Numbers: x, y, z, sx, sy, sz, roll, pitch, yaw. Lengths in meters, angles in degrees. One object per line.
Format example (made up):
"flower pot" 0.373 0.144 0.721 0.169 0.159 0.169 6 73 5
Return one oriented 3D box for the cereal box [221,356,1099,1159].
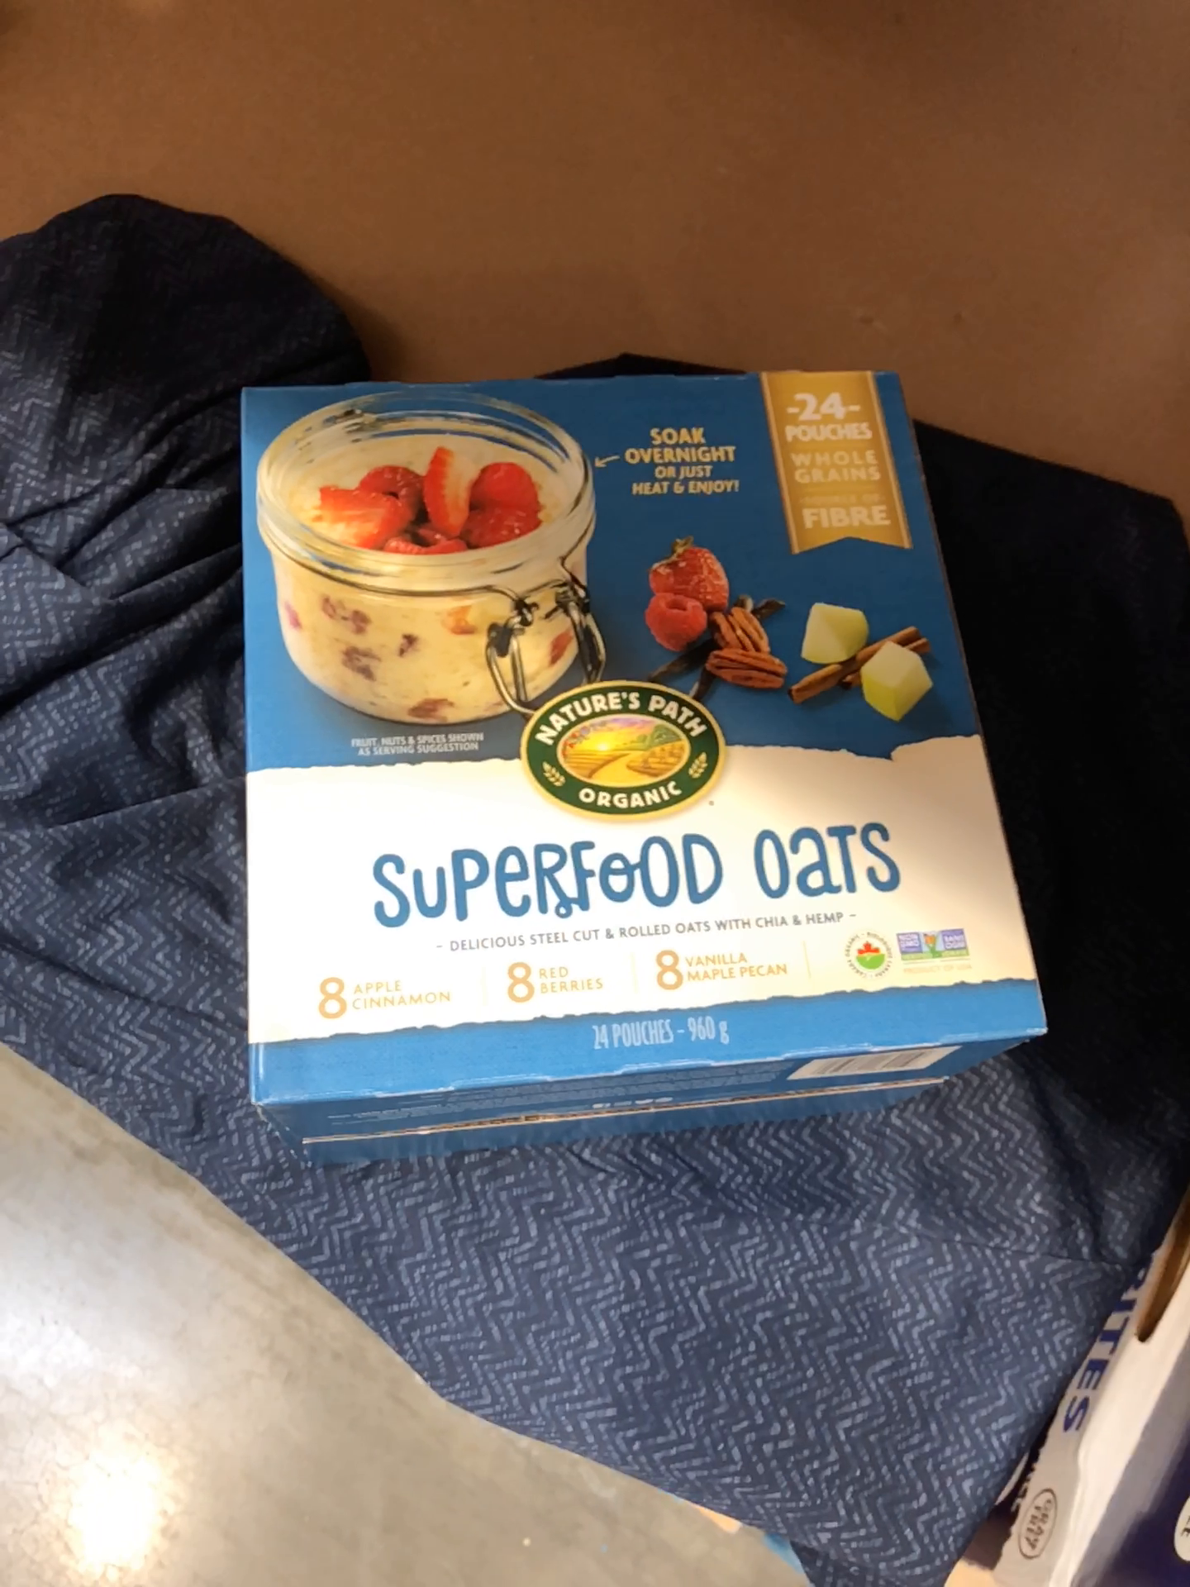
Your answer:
"cereal box" 0.004 -0.011 0.486 0.250 0.150 0.240 -4 68 -9
